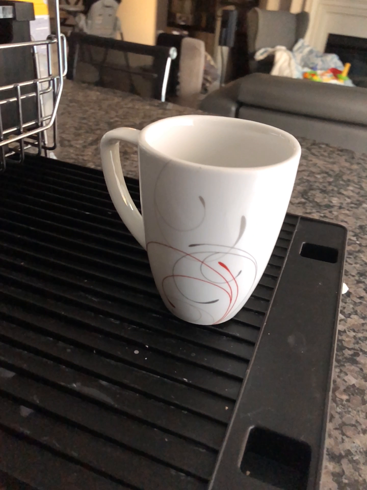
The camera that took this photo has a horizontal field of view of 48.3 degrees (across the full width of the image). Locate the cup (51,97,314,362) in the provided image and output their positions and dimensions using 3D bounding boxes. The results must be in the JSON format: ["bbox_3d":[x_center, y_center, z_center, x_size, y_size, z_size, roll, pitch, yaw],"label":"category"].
[{"bbox_3d":[0.002,-0.017,0.244,0.116,0.105,0.088,16,33,16],"label":"cup"}]
